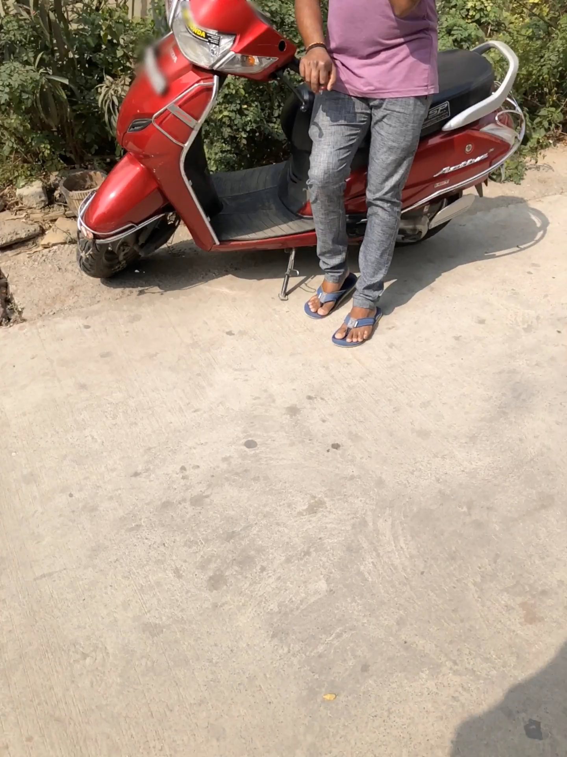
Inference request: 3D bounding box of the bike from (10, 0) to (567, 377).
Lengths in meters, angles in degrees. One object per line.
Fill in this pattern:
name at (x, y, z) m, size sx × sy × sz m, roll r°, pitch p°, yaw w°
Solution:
bike at (0.034, -0.796, 2.191) m, size 1.585 × 1.157 × 0.625 m, roll -12°, pitch 40°, yaw -13°
